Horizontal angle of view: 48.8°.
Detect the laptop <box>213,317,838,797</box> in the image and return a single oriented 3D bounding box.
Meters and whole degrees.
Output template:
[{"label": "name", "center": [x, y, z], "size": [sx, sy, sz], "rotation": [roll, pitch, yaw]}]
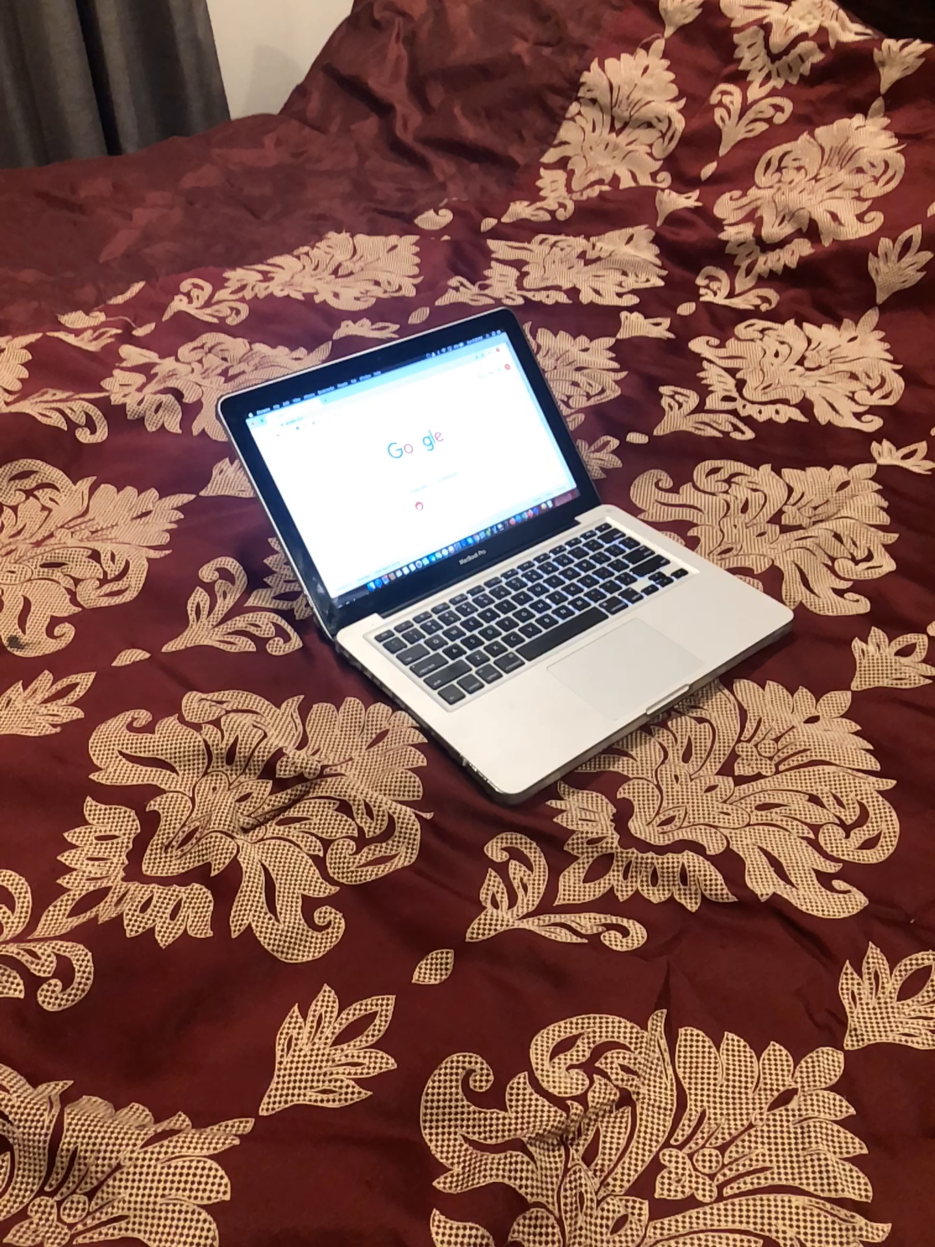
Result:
[{"label": "laptop", "center": [0.032, -0.081, 0.781], "size": [0.292, 0.133, 0.343], "rotation": [-27, 46, -30]}]
